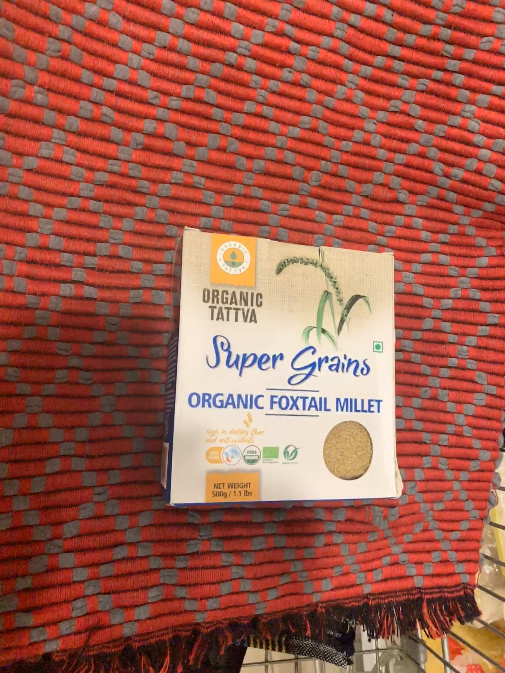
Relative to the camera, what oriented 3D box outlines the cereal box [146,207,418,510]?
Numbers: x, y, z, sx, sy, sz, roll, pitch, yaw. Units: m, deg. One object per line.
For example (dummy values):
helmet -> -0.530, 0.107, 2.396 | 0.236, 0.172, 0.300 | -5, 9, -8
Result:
cereal box -> 0.016, 0.016, 0.304 | 0.140, 0.060, 0.150 | 4, 81, -16
